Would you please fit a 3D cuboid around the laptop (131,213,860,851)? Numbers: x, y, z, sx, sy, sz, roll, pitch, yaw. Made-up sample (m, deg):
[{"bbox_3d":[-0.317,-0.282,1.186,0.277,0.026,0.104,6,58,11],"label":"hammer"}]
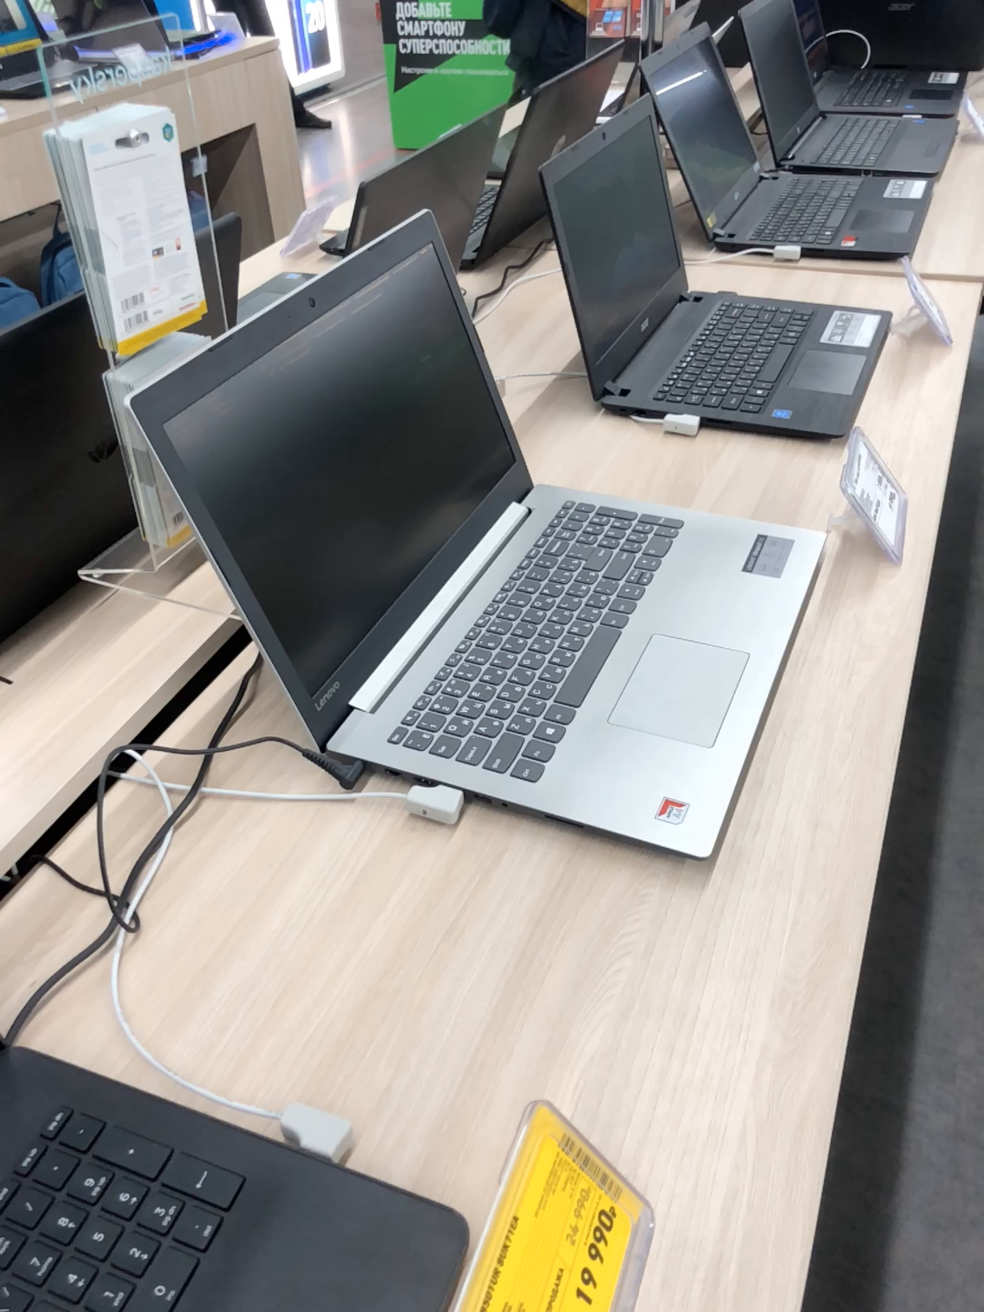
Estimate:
[{"bbox_3d":[0.037,-0.124,0.754,0.343,0.235,0.381,12,39,20],"label":"laptop"}]
